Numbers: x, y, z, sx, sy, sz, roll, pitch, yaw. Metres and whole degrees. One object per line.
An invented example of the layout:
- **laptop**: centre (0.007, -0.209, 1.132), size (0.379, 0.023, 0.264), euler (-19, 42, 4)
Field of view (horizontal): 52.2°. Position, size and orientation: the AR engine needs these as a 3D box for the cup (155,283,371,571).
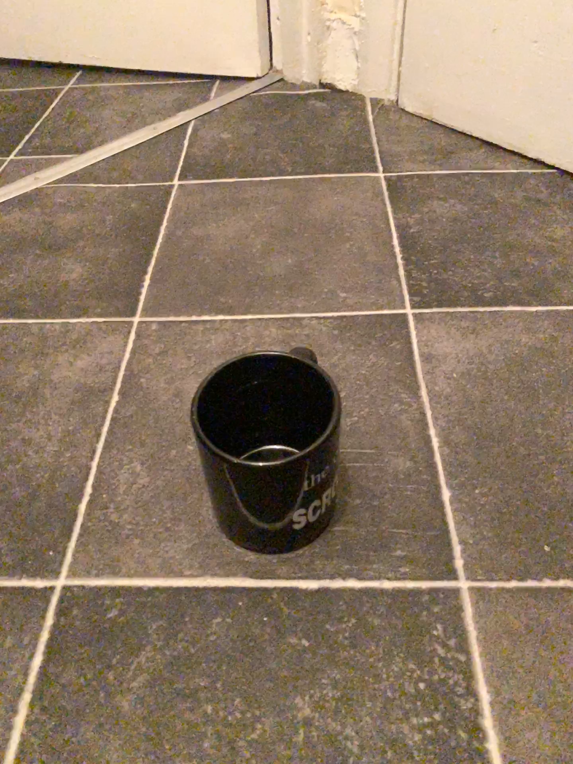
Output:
- **cup**: centre (-0.004, 0.024, 0.359), size (0.090, 0.099, 0.131), euler (8, 47, 11)
